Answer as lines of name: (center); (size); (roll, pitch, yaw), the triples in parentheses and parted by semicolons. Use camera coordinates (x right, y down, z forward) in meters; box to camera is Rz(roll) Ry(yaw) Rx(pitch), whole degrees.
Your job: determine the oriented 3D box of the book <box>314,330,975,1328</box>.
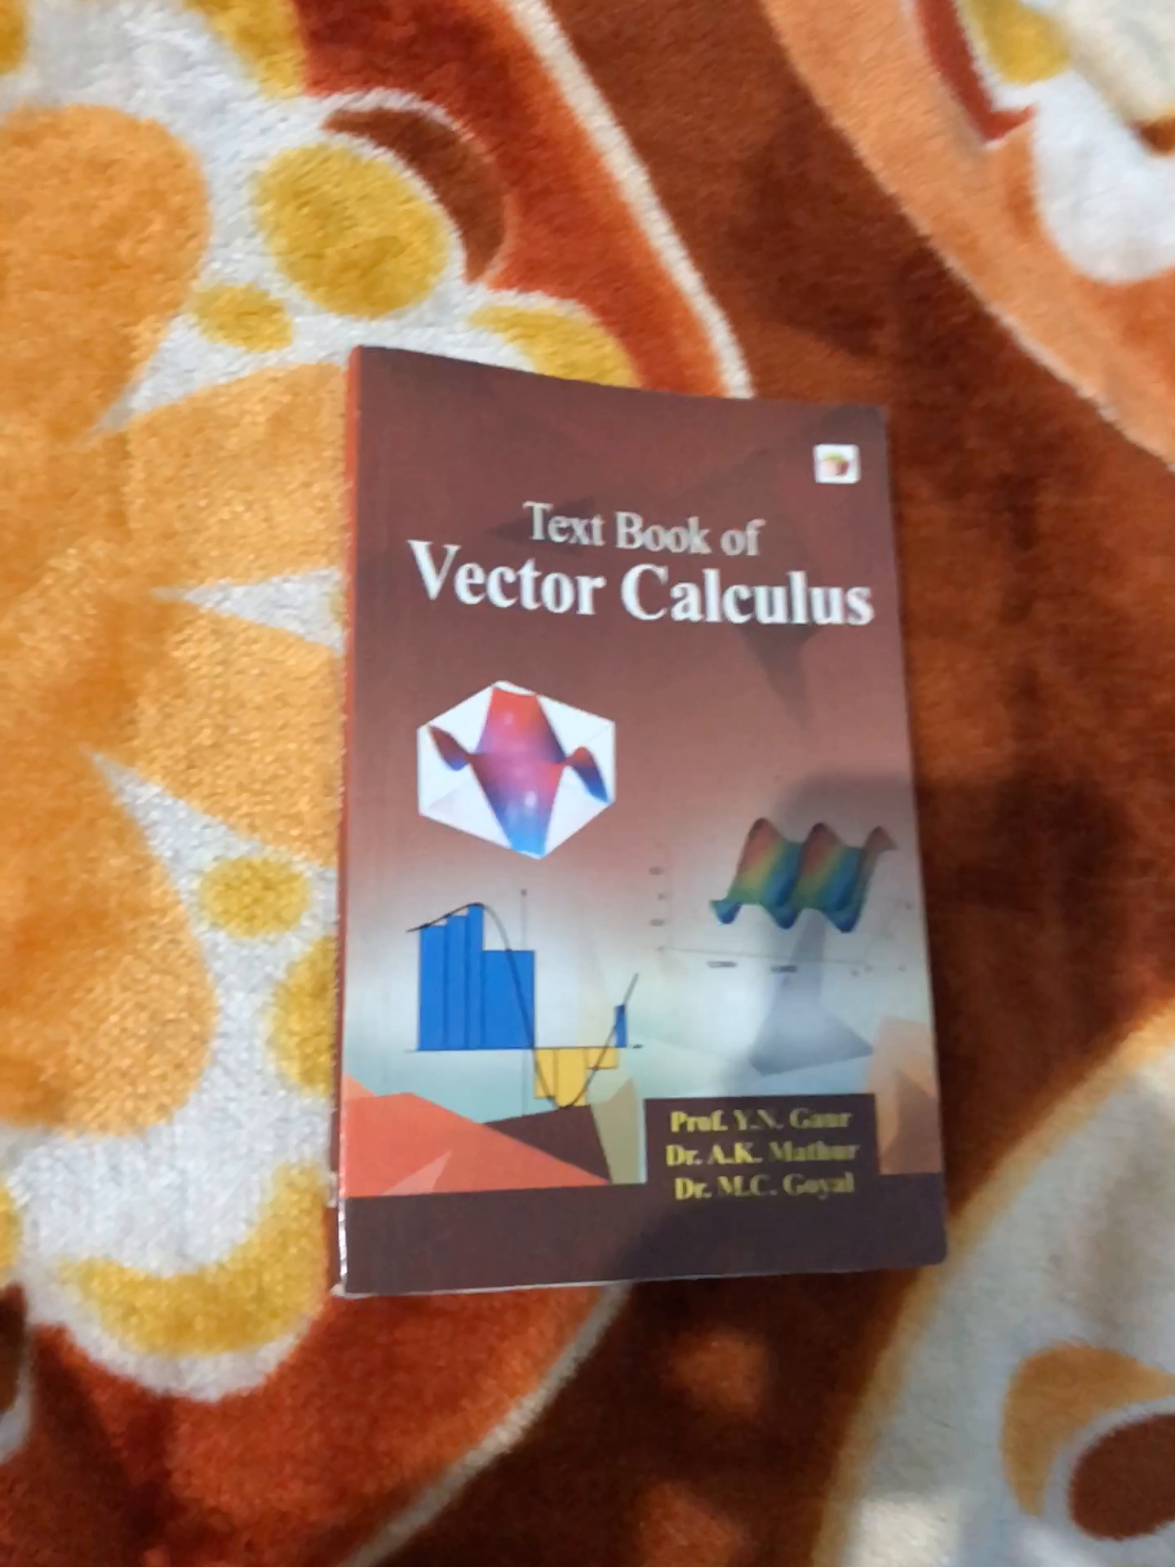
book: (0.012, 0.005, 0.301); (0.140, 0.020, 0.210); (2, 78, -14)
